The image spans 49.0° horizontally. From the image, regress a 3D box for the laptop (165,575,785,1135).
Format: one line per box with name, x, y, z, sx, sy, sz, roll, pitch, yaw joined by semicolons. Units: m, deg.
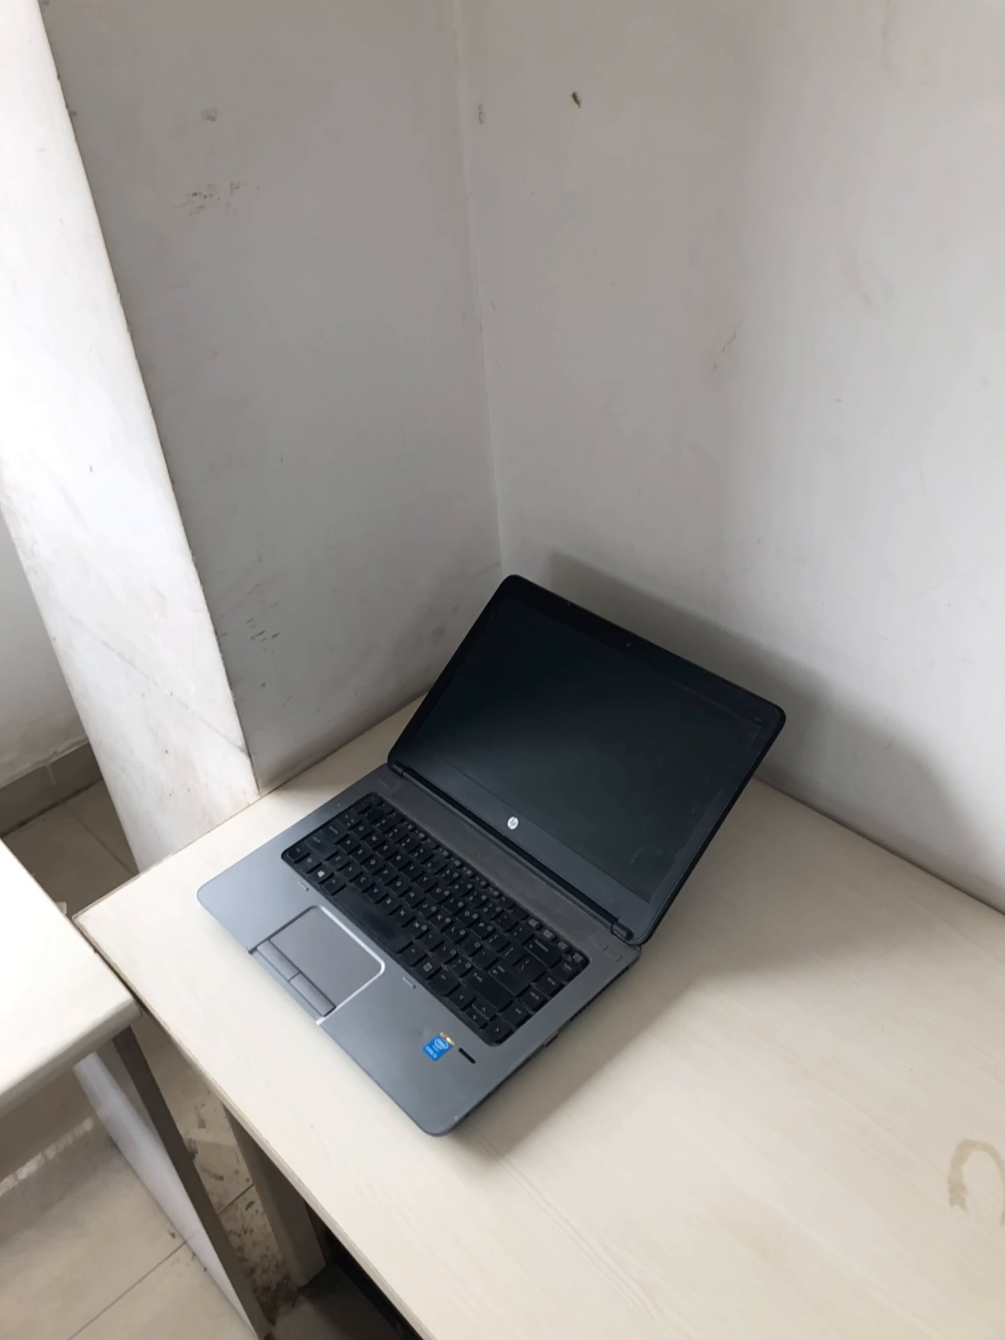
laptop;-0.016;0.122;0.969;0.407;0.137;0.328;-33;47;-31
